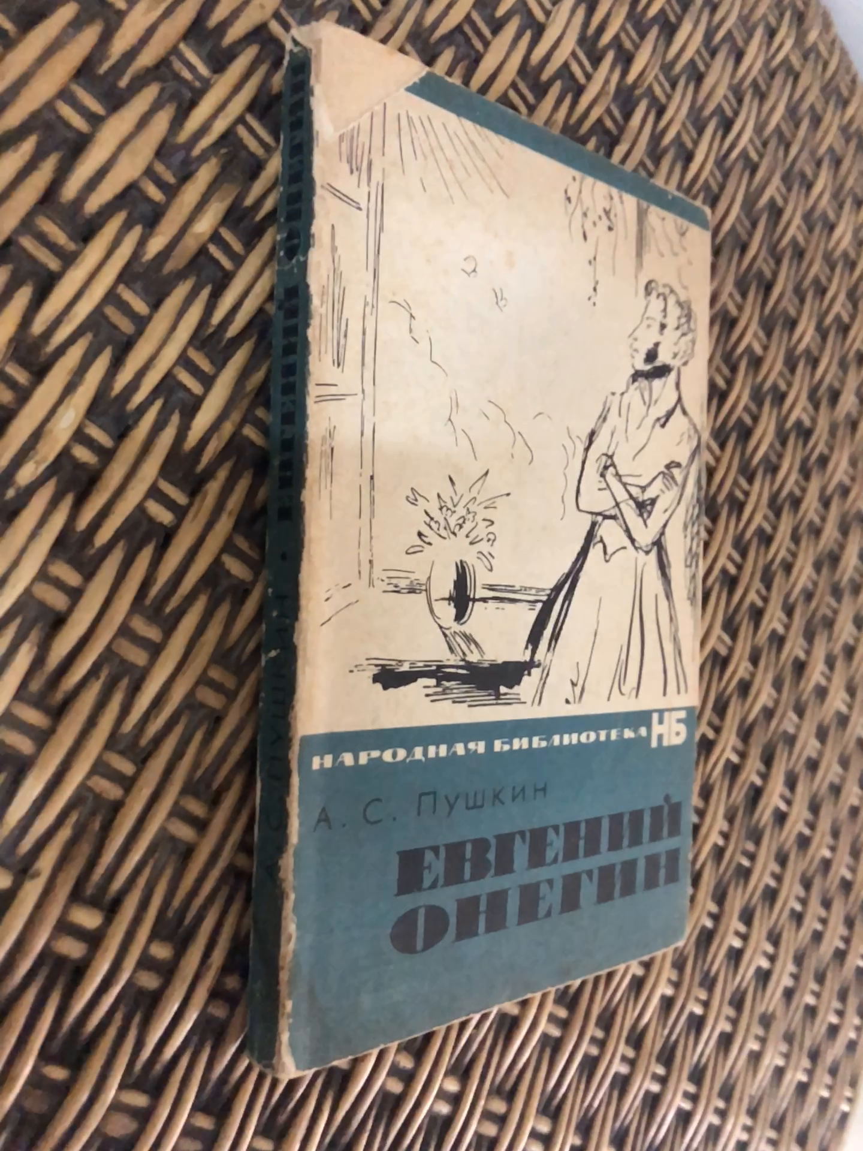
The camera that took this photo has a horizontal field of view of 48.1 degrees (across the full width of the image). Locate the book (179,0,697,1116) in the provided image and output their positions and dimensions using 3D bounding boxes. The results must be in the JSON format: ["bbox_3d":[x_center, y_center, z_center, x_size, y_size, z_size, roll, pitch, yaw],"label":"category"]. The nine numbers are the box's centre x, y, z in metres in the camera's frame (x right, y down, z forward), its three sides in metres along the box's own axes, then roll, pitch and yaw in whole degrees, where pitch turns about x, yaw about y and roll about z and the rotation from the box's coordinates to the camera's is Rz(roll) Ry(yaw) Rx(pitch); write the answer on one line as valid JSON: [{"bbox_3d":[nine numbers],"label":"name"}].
[{"bbox_3d":[0.010,-0.003,0.209,0.121,0.020,0.190,4,88,-40],"label":"book"}]
